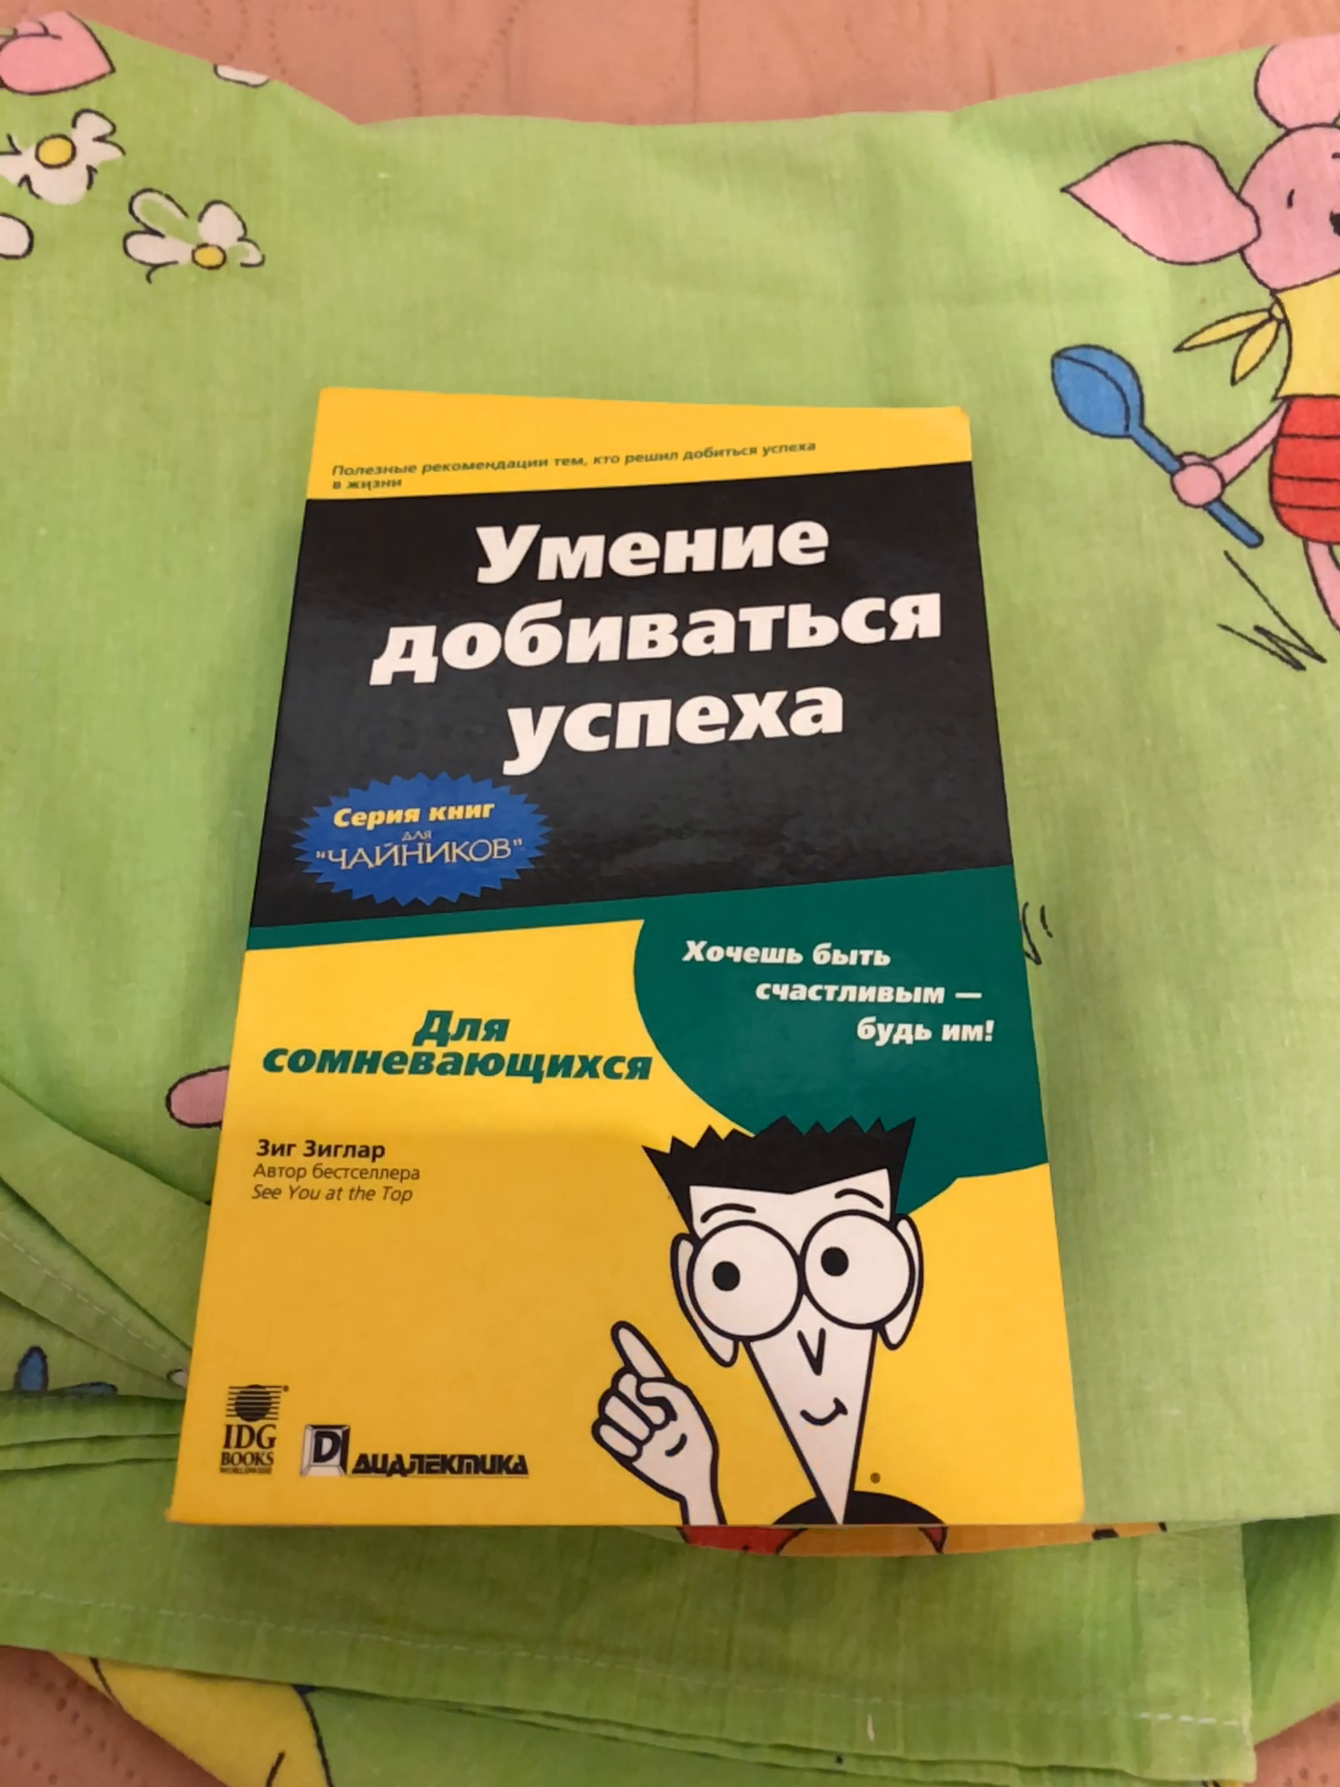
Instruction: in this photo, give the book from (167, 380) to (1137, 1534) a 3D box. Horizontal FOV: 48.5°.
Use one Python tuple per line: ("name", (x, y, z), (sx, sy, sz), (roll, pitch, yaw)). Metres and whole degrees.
("book", (-0.002, -0.002, 0.238), (0.125, 0.015, 0.192), (1, 65, -2))
